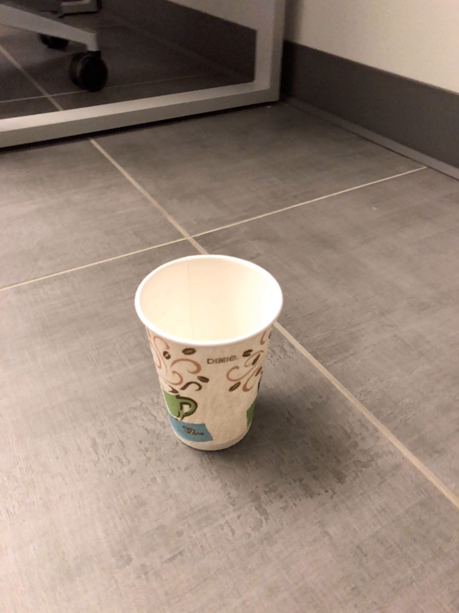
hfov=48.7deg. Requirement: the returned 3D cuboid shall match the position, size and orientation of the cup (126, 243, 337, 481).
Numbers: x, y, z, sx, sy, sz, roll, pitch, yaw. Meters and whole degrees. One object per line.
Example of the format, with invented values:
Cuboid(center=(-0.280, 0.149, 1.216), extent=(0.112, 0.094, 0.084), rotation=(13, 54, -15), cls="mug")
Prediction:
Cuboid(center=(-0.004, 0.032, 0.330), extent=(0.100, 0.099, 0.090), rotation=(-12, 40, -16), cls="cup")
